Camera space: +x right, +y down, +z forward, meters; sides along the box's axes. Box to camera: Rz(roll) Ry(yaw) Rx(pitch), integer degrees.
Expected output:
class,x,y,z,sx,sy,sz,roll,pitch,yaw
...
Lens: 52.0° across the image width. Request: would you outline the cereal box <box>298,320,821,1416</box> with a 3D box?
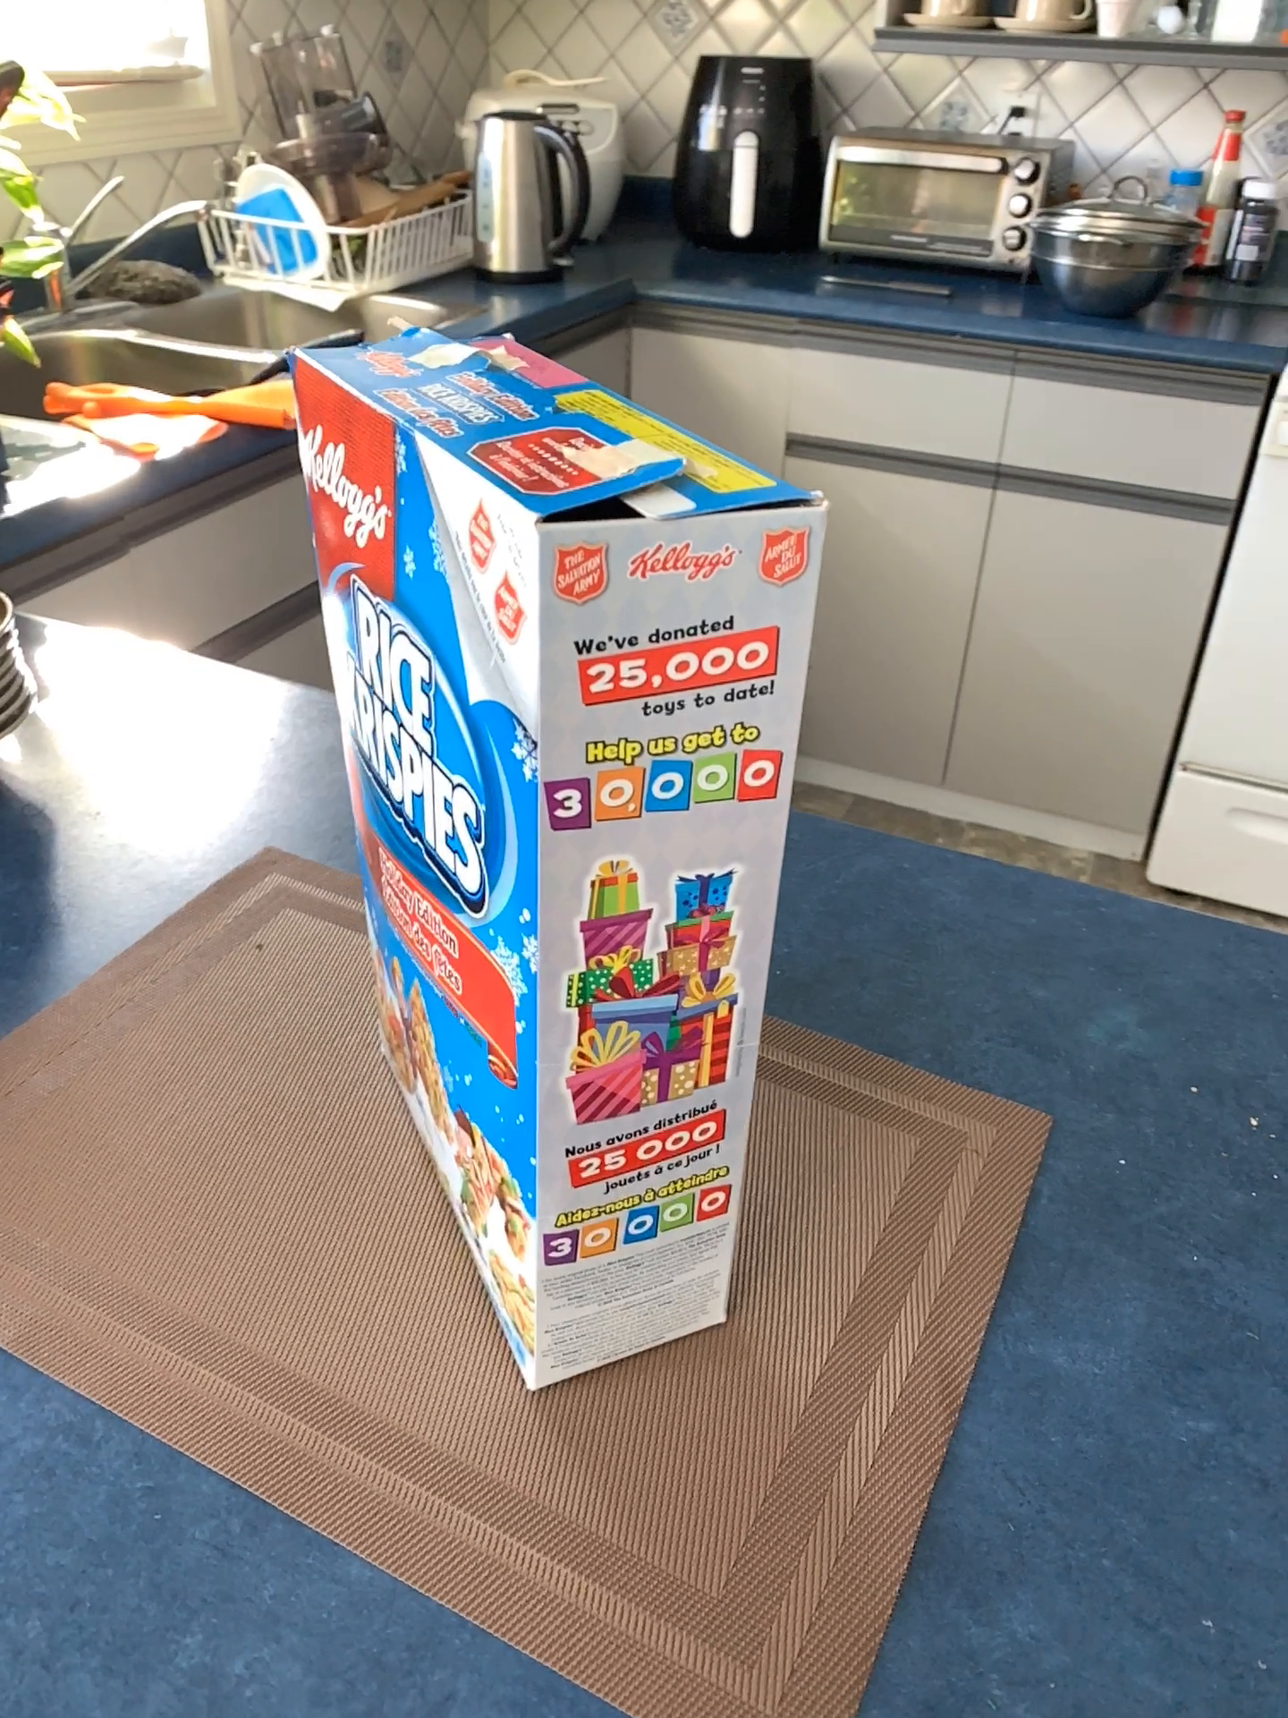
class,x,y,z,sx,sy,sz,roll,pitch,yaw
cereal box,-0.047,-0.002,0.487,0.080,0.327,0.222,-12,35,-23
